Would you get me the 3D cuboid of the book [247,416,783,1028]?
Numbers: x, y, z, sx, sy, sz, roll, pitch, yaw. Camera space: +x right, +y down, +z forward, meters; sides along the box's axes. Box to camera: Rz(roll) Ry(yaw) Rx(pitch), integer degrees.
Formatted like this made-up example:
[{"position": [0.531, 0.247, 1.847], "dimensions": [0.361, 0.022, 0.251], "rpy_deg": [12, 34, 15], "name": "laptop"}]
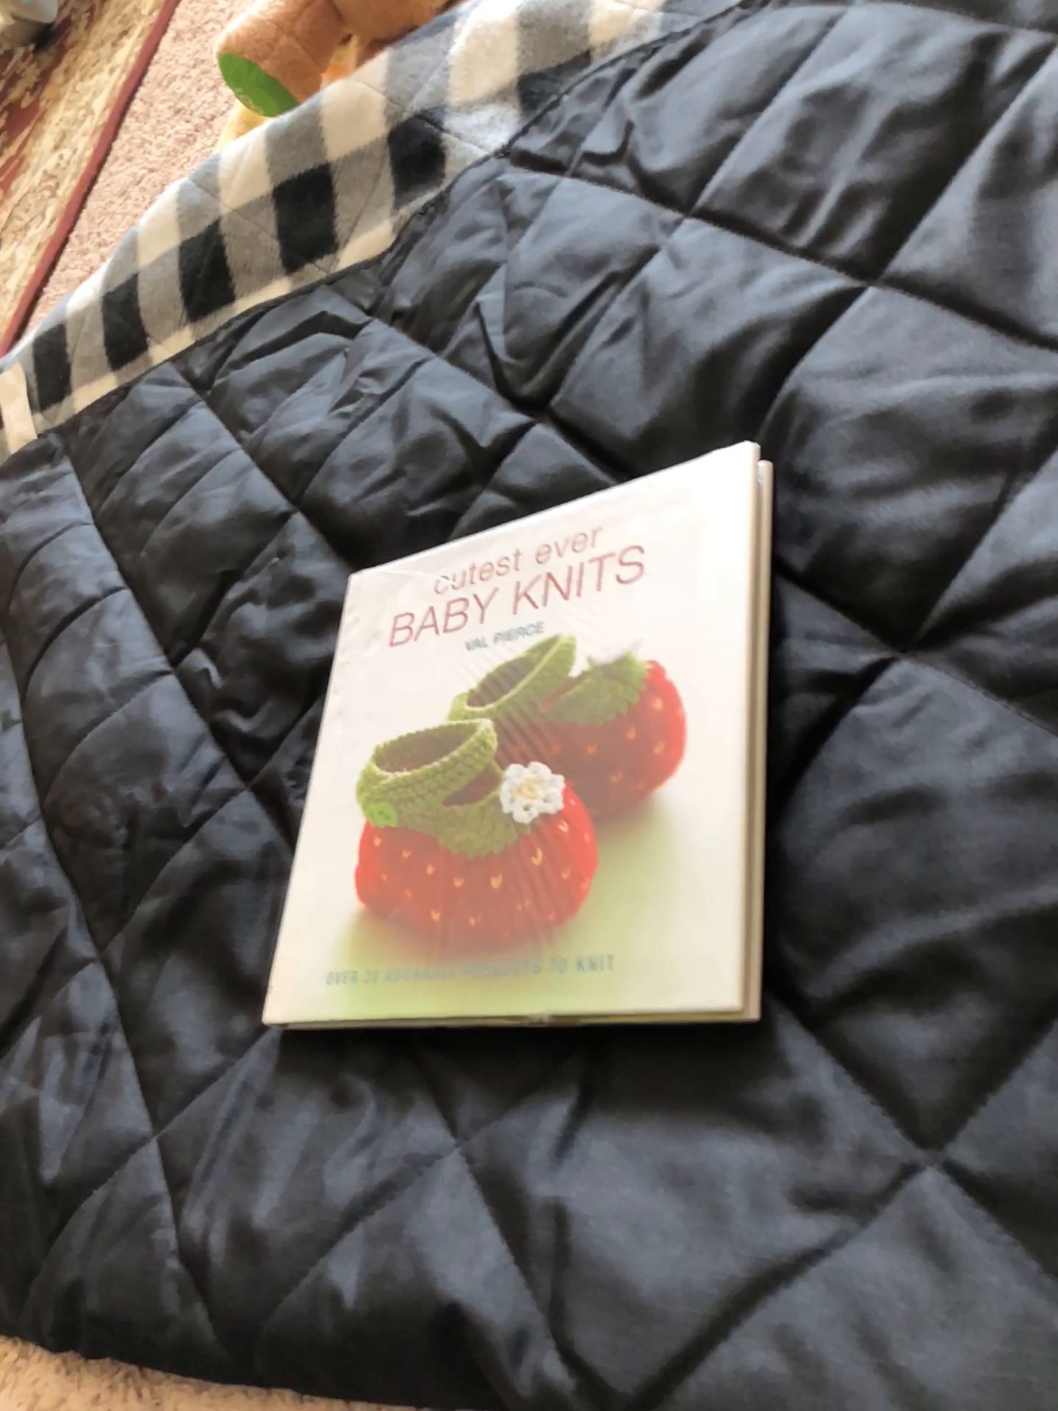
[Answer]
[{"position": [-0.006, 0.011, 0.420], "dimensions": [0.198, 0.020, 0.200], "rpy_deg": [-12, 60, 33], "name": "book"}]
